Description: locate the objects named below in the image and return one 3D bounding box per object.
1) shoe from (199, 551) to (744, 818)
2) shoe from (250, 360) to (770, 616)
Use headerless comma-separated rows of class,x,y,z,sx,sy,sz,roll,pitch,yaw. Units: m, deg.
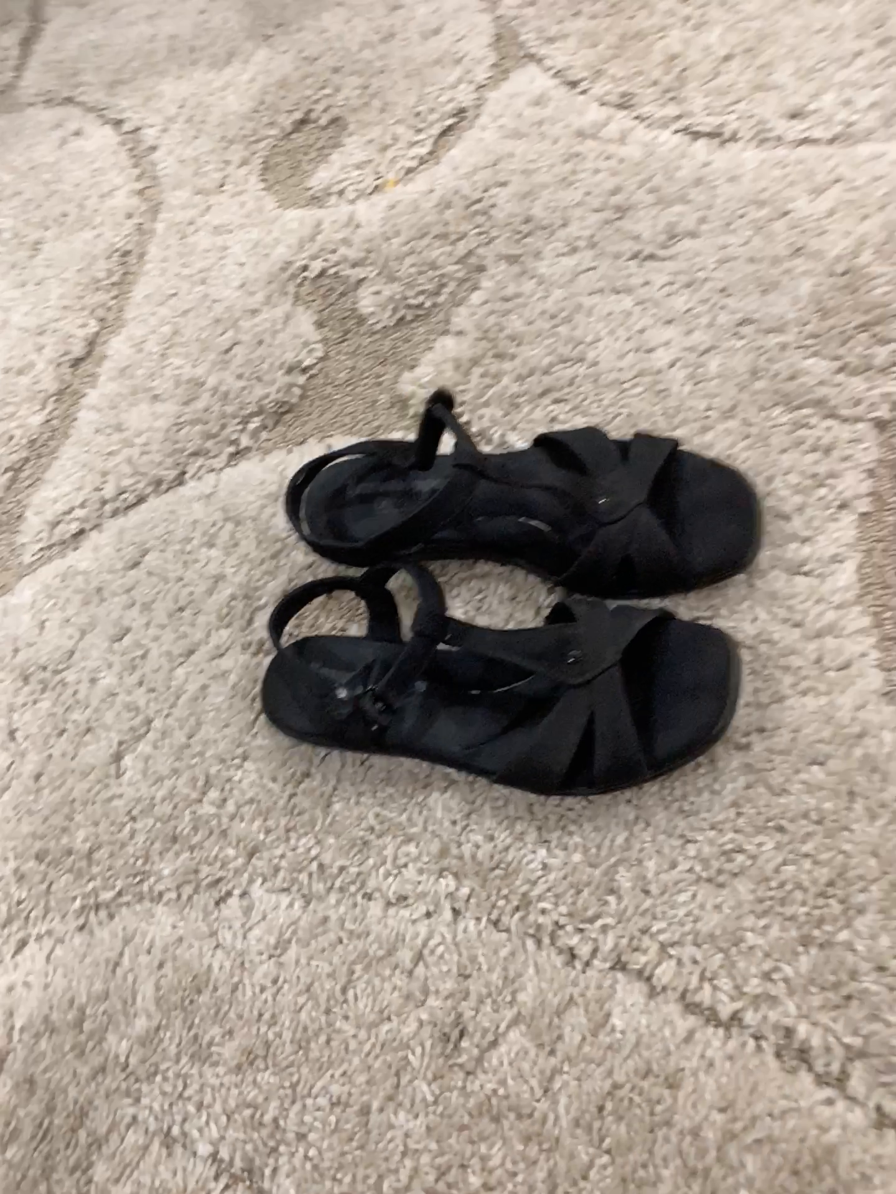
shoe,0.012,0.037,0.437,0.242,0.060,0.100,2,68,19
shoe,0.032,-0.052,0.459,0.242,0.060,0.100,2,68,19
